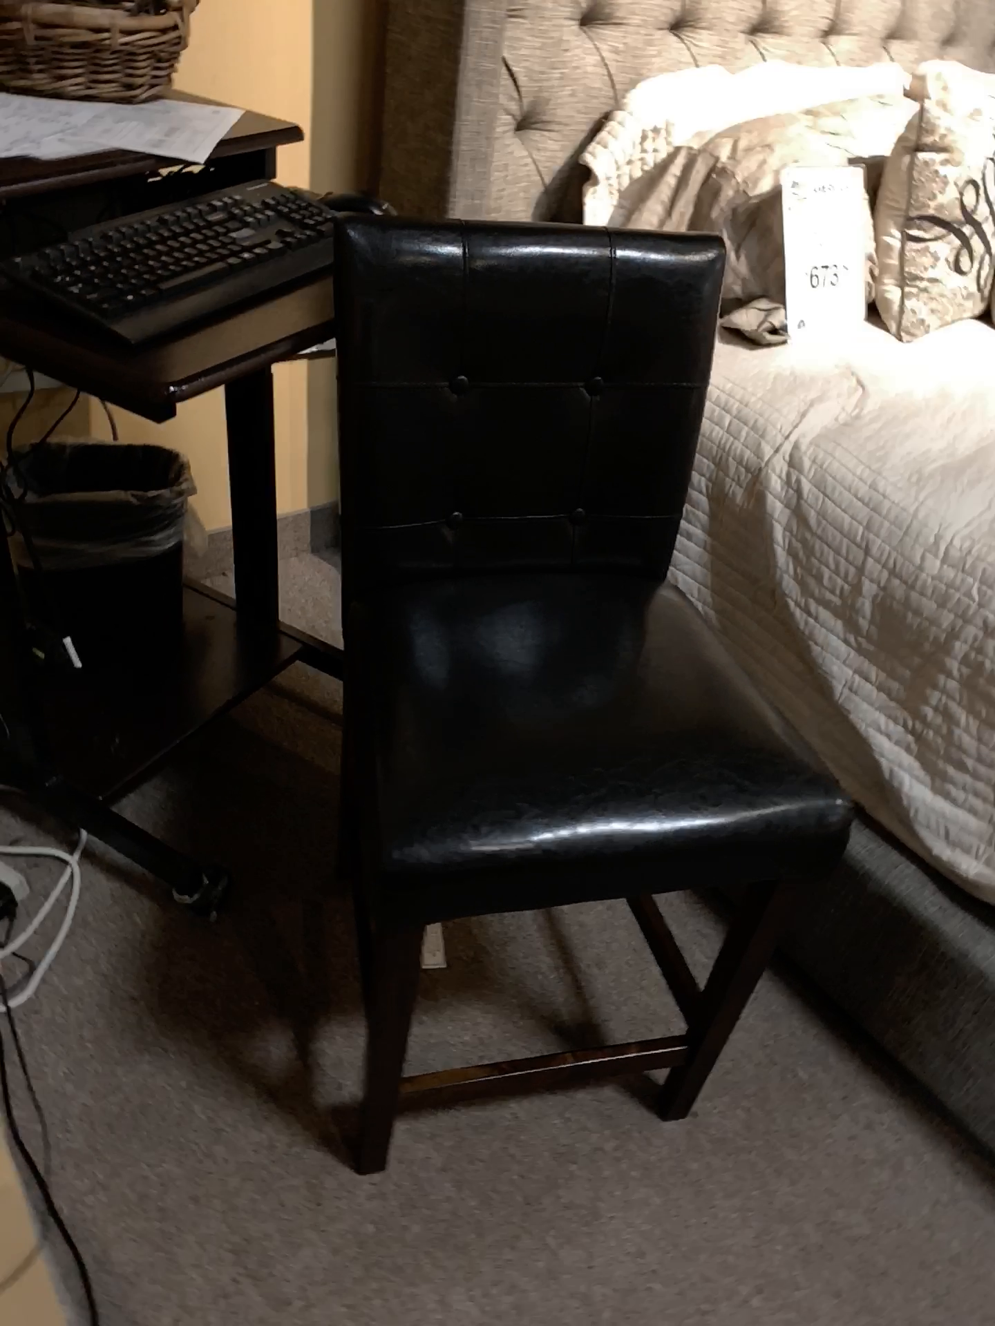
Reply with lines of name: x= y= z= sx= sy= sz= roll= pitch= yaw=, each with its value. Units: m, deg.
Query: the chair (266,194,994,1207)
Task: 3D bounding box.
chair: x=0.056 y=0.066 z=1.106 sx=0.559 sy=0.912 sz=0.519 roll=-3 pitch=39 yaw=-15
